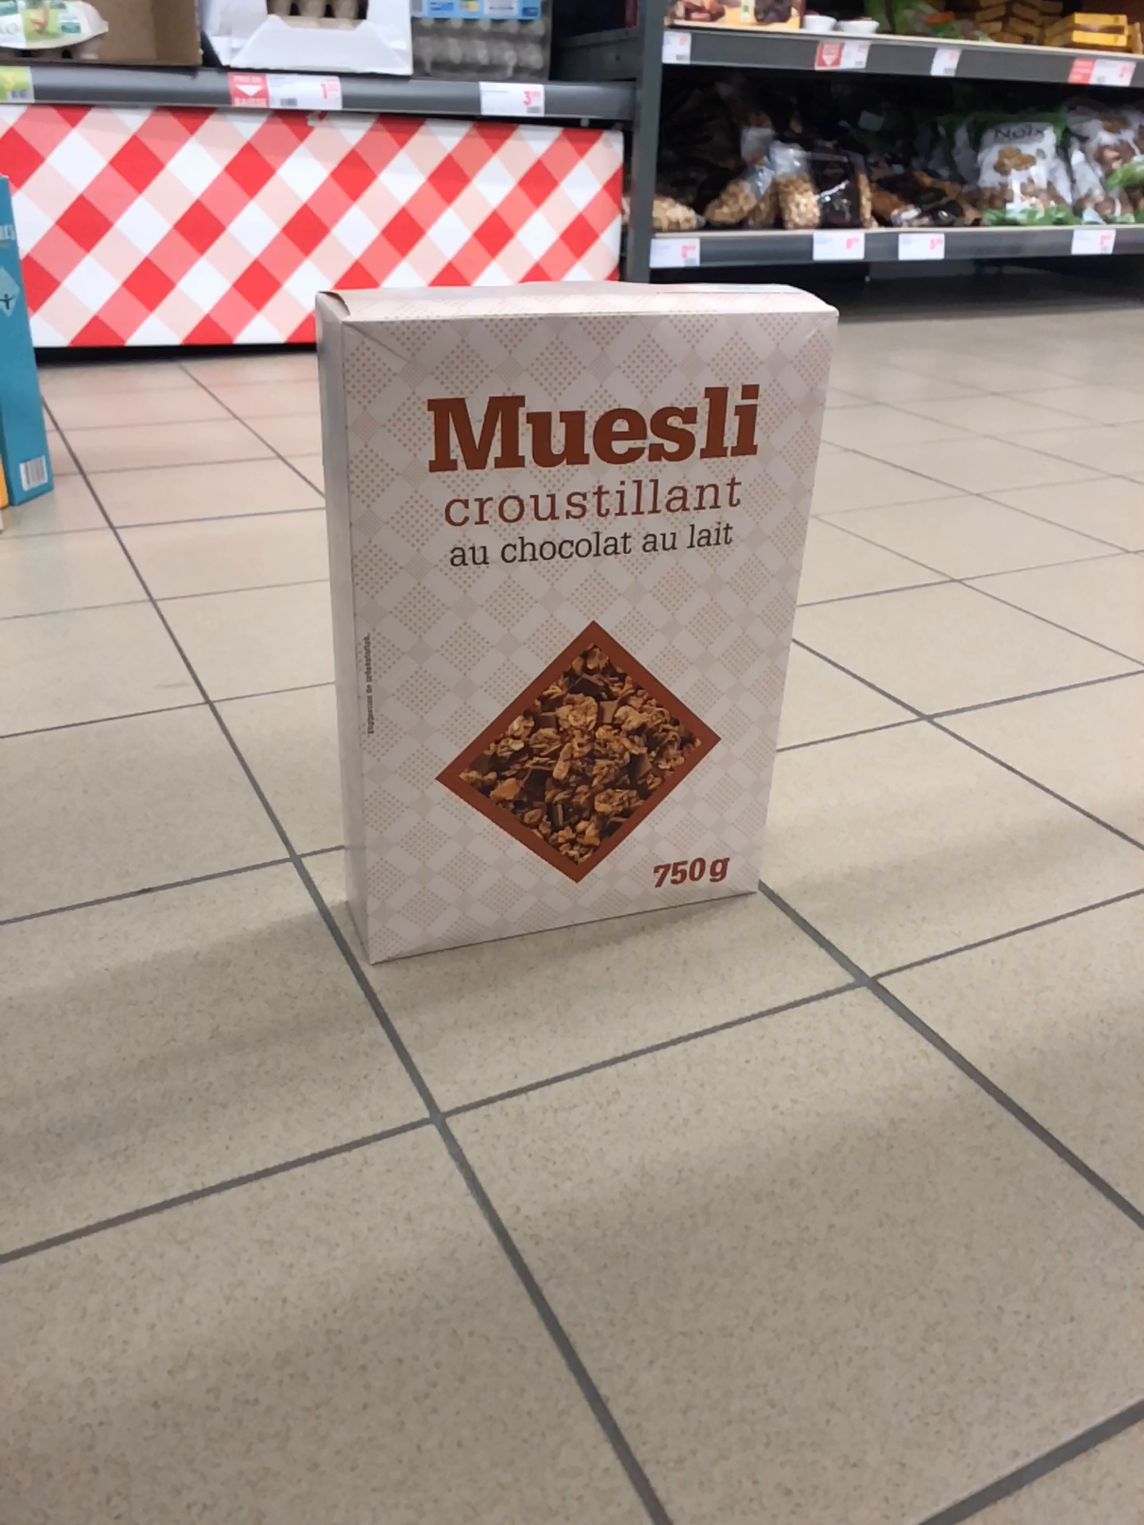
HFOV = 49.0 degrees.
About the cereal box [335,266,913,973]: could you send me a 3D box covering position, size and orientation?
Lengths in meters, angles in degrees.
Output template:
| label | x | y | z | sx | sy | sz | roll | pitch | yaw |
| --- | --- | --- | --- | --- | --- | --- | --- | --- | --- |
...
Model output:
| label | x | y | z | sx | sy | sz | roll | pitch | yaw |
| --- | --- | --- | --- | --- | --- | --- | --- | --- | --- |
| cereal box | 0.015 | -0.056 | 0.516 | 0.200 | 0.268 | 0.060 | -7 | 30 | -17 |
